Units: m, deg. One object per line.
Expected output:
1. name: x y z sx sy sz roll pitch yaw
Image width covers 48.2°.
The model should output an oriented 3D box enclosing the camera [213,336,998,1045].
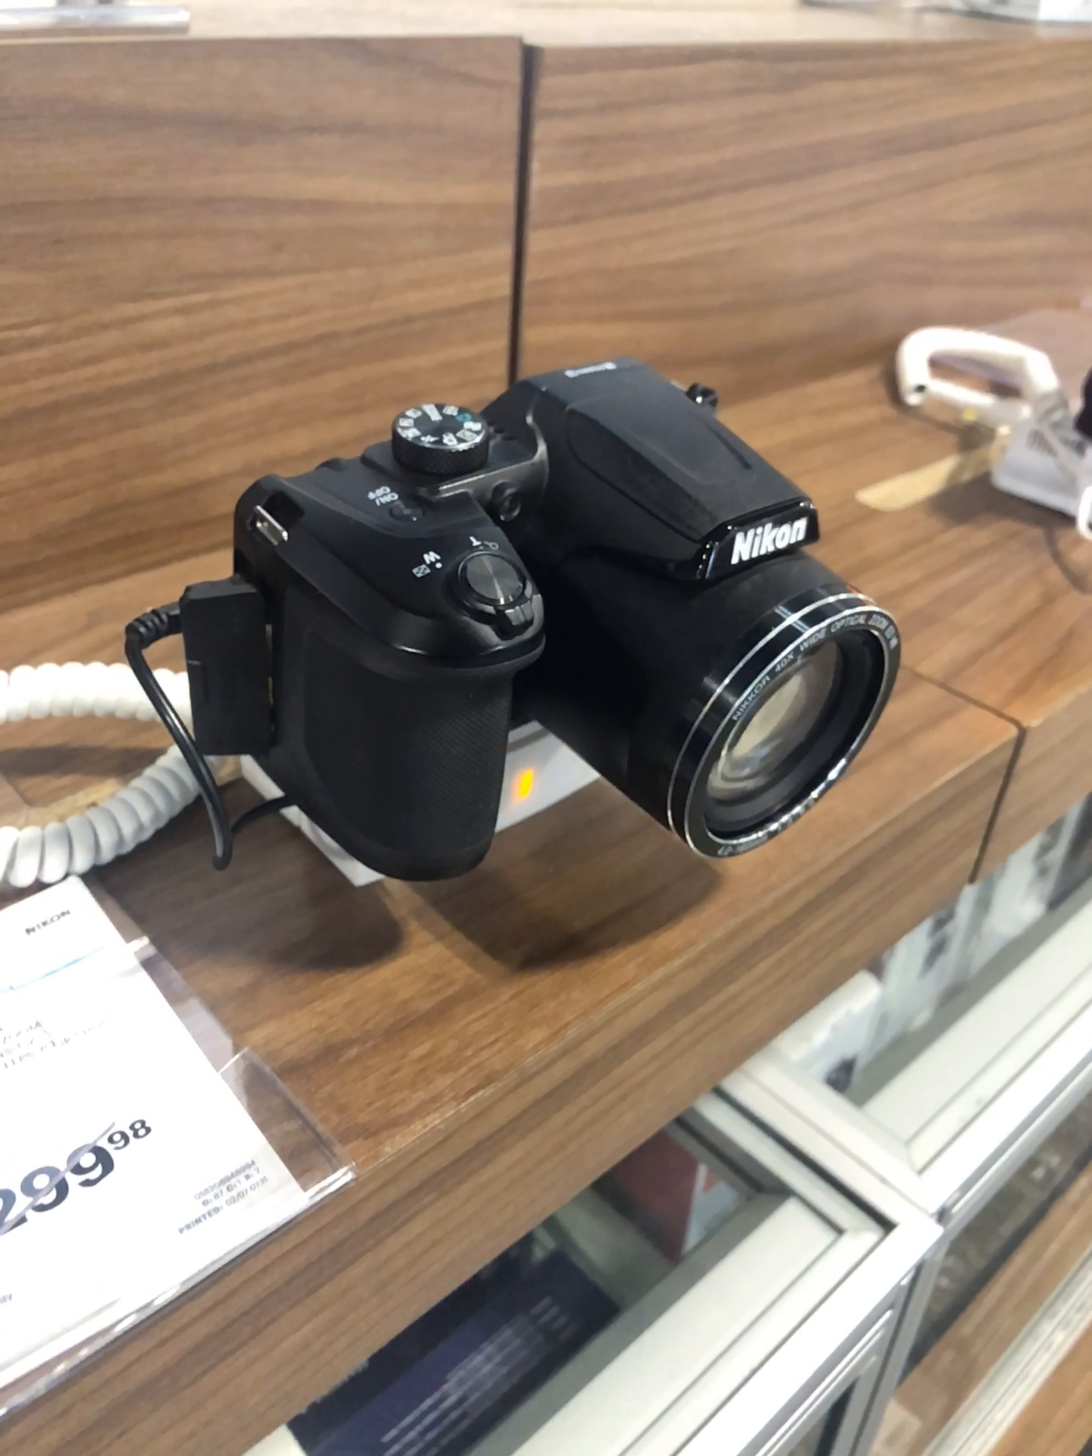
1. camera: 0.010 -0.019 0.247 0.110 0.079 0.096 -24 42 -36
